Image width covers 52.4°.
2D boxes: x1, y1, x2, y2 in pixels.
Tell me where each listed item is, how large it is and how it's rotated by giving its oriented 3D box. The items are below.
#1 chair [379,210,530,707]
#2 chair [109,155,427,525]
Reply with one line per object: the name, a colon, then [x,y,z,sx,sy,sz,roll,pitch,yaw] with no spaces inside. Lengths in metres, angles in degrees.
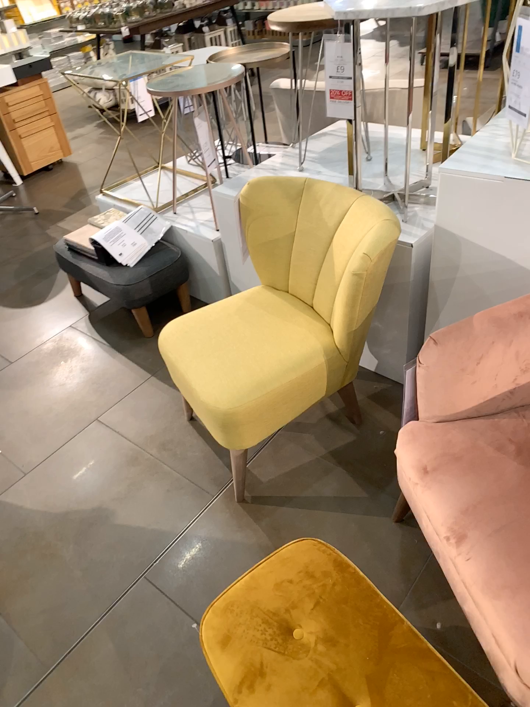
chair: [0.640,0.249,1.097,0.586,0.765,0.623,-15,39,-8]
chair: [0.011,-0.072,1.558,0.587,0.696,0.612,-23,40,-17]
